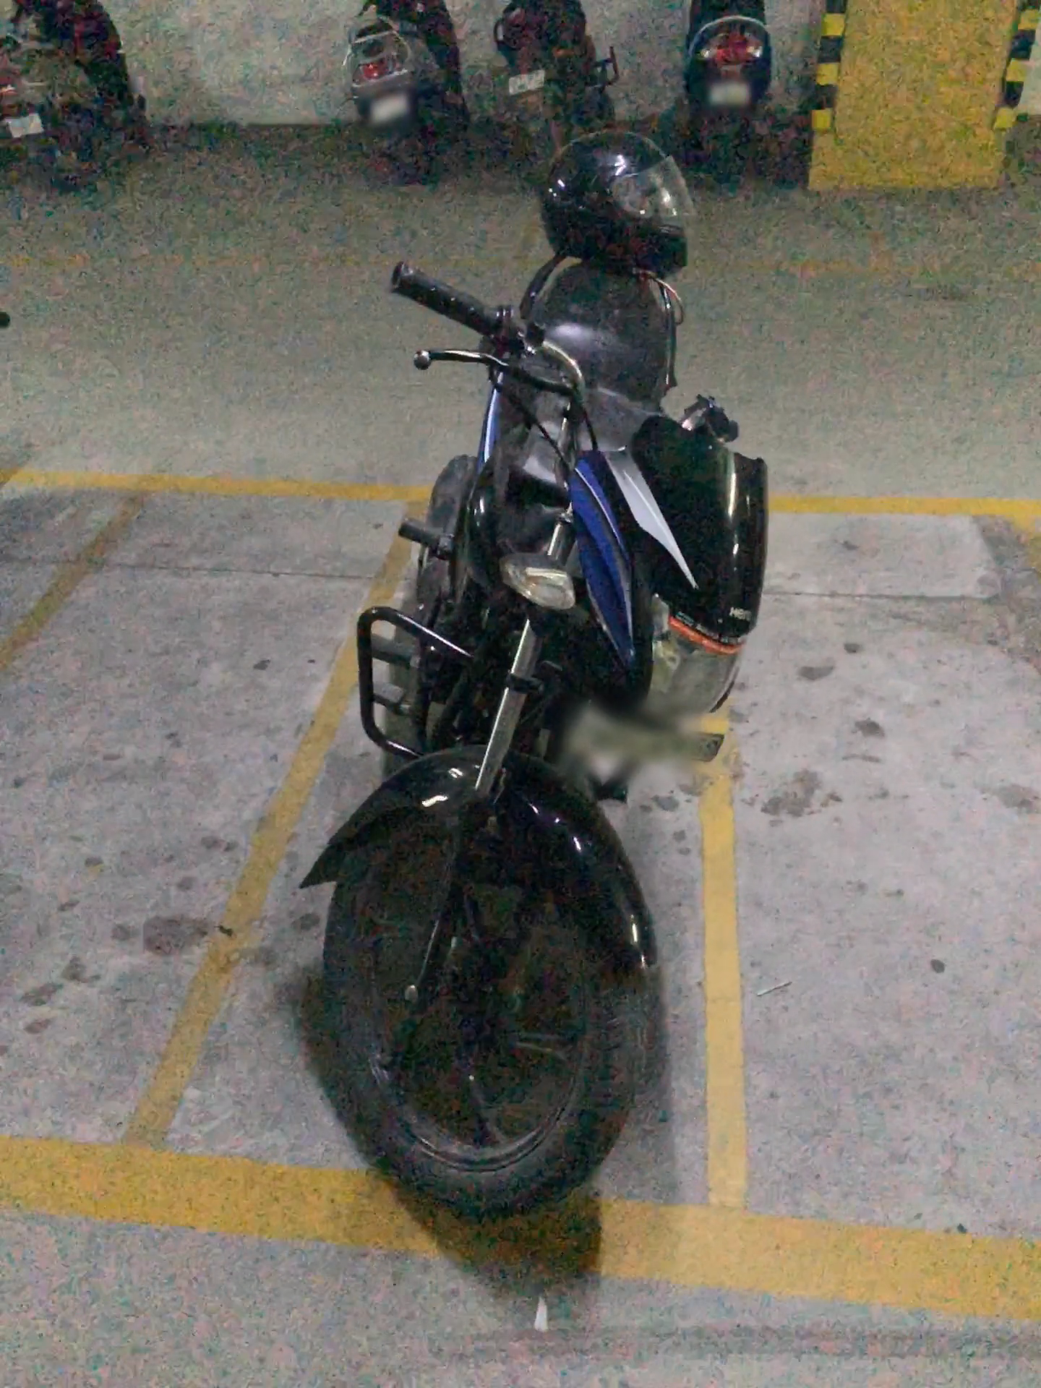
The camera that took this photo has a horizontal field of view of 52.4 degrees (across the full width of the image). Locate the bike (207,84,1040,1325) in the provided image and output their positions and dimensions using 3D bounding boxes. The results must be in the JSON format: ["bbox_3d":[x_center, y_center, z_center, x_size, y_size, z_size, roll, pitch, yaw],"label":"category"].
[{"bbox_3d":[0.157,-0.163,1.810,0.767,1.156,1.725,-1,41,2],"label":"bike"}]
